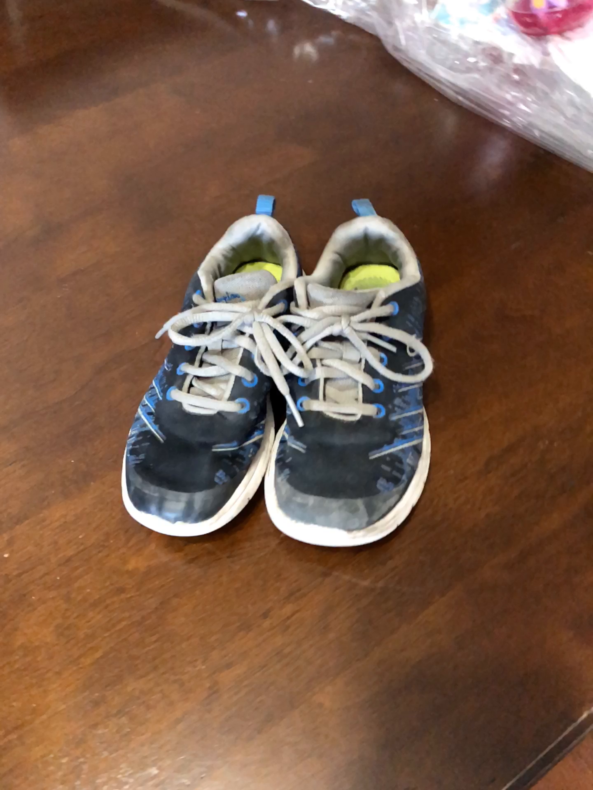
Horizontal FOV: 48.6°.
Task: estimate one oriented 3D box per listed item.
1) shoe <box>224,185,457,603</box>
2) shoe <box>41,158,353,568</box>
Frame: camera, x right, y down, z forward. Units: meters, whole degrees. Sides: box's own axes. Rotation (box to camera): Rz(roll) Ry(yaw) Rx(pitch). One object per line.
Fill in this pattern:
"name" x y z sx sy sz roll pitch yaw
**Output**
"shoe" 0.036 -0.011 0.391 0.100 0.090 0.231 6 56 7
"shoe" -0.039 -0.029 0.389 0.100 0.090 0.220 11 56 10
